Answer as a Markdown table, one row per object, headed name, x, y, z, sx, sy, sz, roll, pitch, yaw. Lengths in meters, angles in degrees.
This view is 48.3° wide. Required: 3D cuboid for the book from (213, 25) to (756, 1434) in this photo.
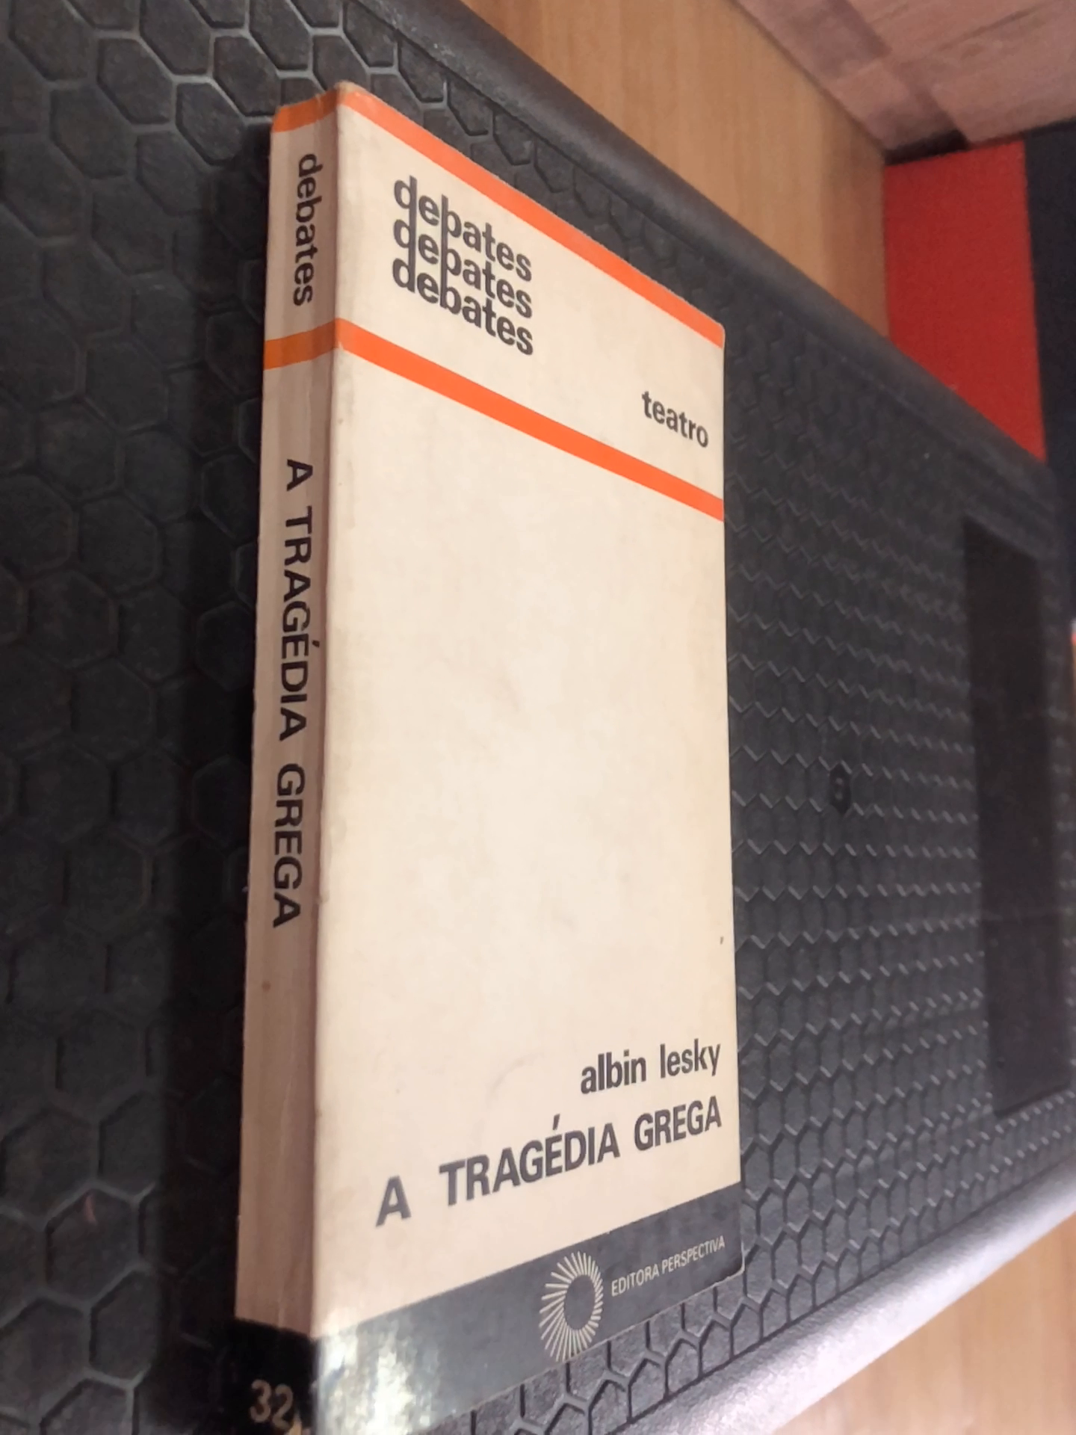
| name | x | y | z | sx | sy | sz | roll | pitch | yaw |
| --- | --- | --- | --- | --- | --- | --- | --- | --- | --- |
| book | 0.000 | 0.005 | 0.217 | 0.115 | 0.020 | 0.207 | 9 | 78 | -50 |
